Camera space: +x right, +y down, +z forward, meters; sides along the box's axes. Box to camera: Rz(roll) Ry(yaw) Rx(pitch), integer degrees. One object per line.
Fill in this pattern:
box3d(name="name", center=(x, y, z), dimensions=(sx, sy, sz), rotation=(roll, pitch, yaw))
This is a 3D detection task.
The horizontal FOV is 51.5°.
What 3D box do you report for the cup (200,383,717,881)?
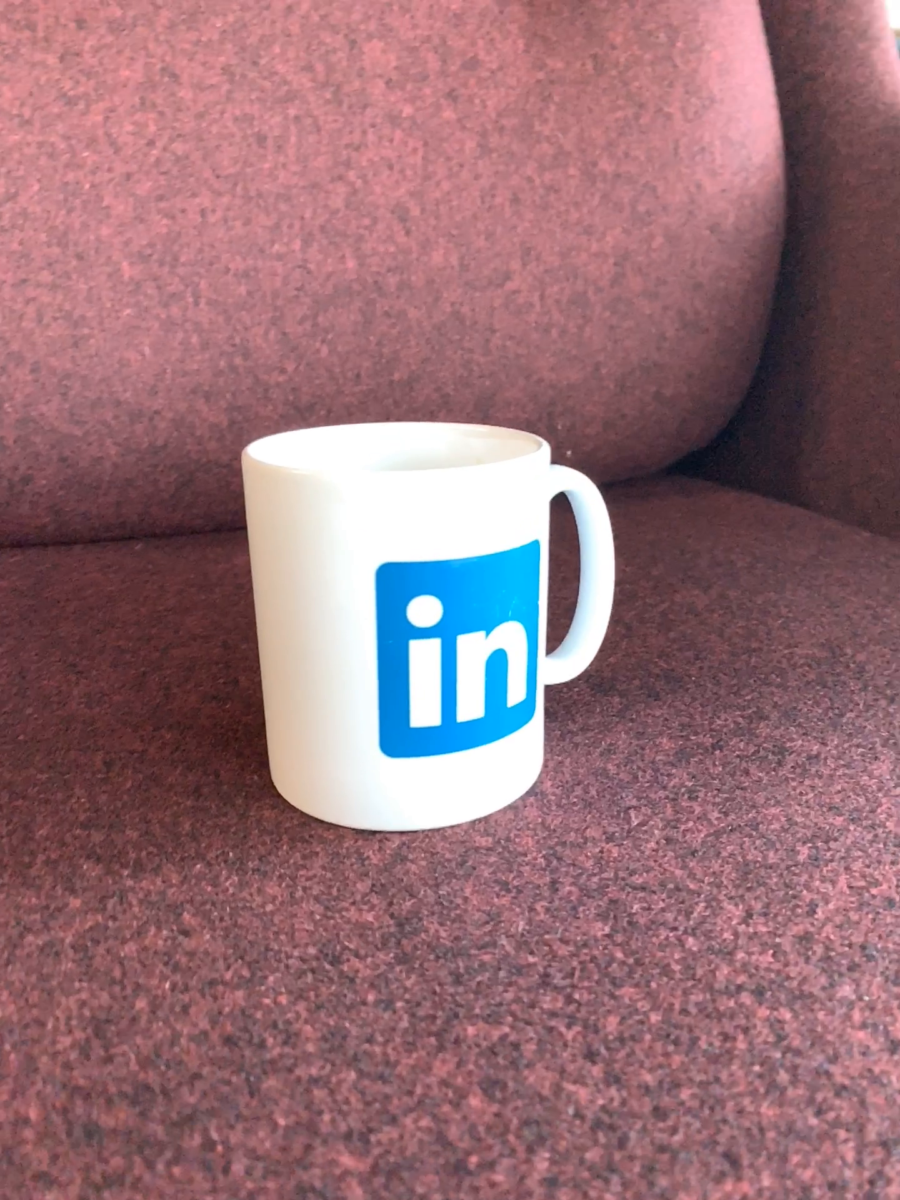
box3d(name="cup", center=(0.002, -0.002, 0.243), dimensions=(0.104, 0.089, 0.075), rotation=(-13, 21, -23))
